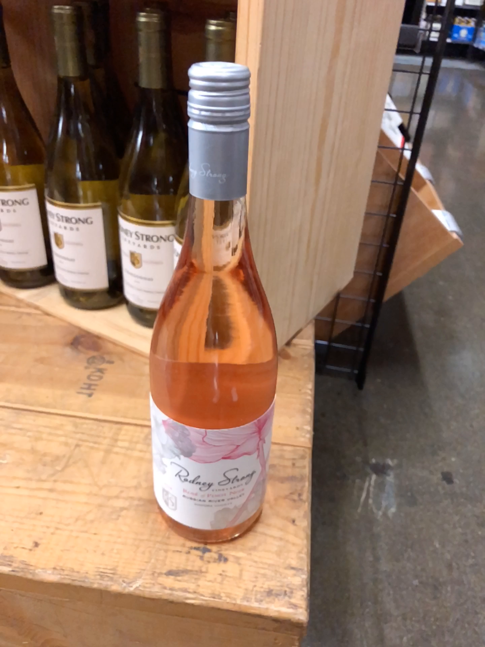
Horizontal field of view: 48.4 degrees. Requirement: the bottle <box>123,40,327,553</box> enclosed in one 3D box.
[{"bbox_3d":[-0.018,0.008,0.328,0.080,0.309,0.082,3,32,-2],"label":"bottle"}]
